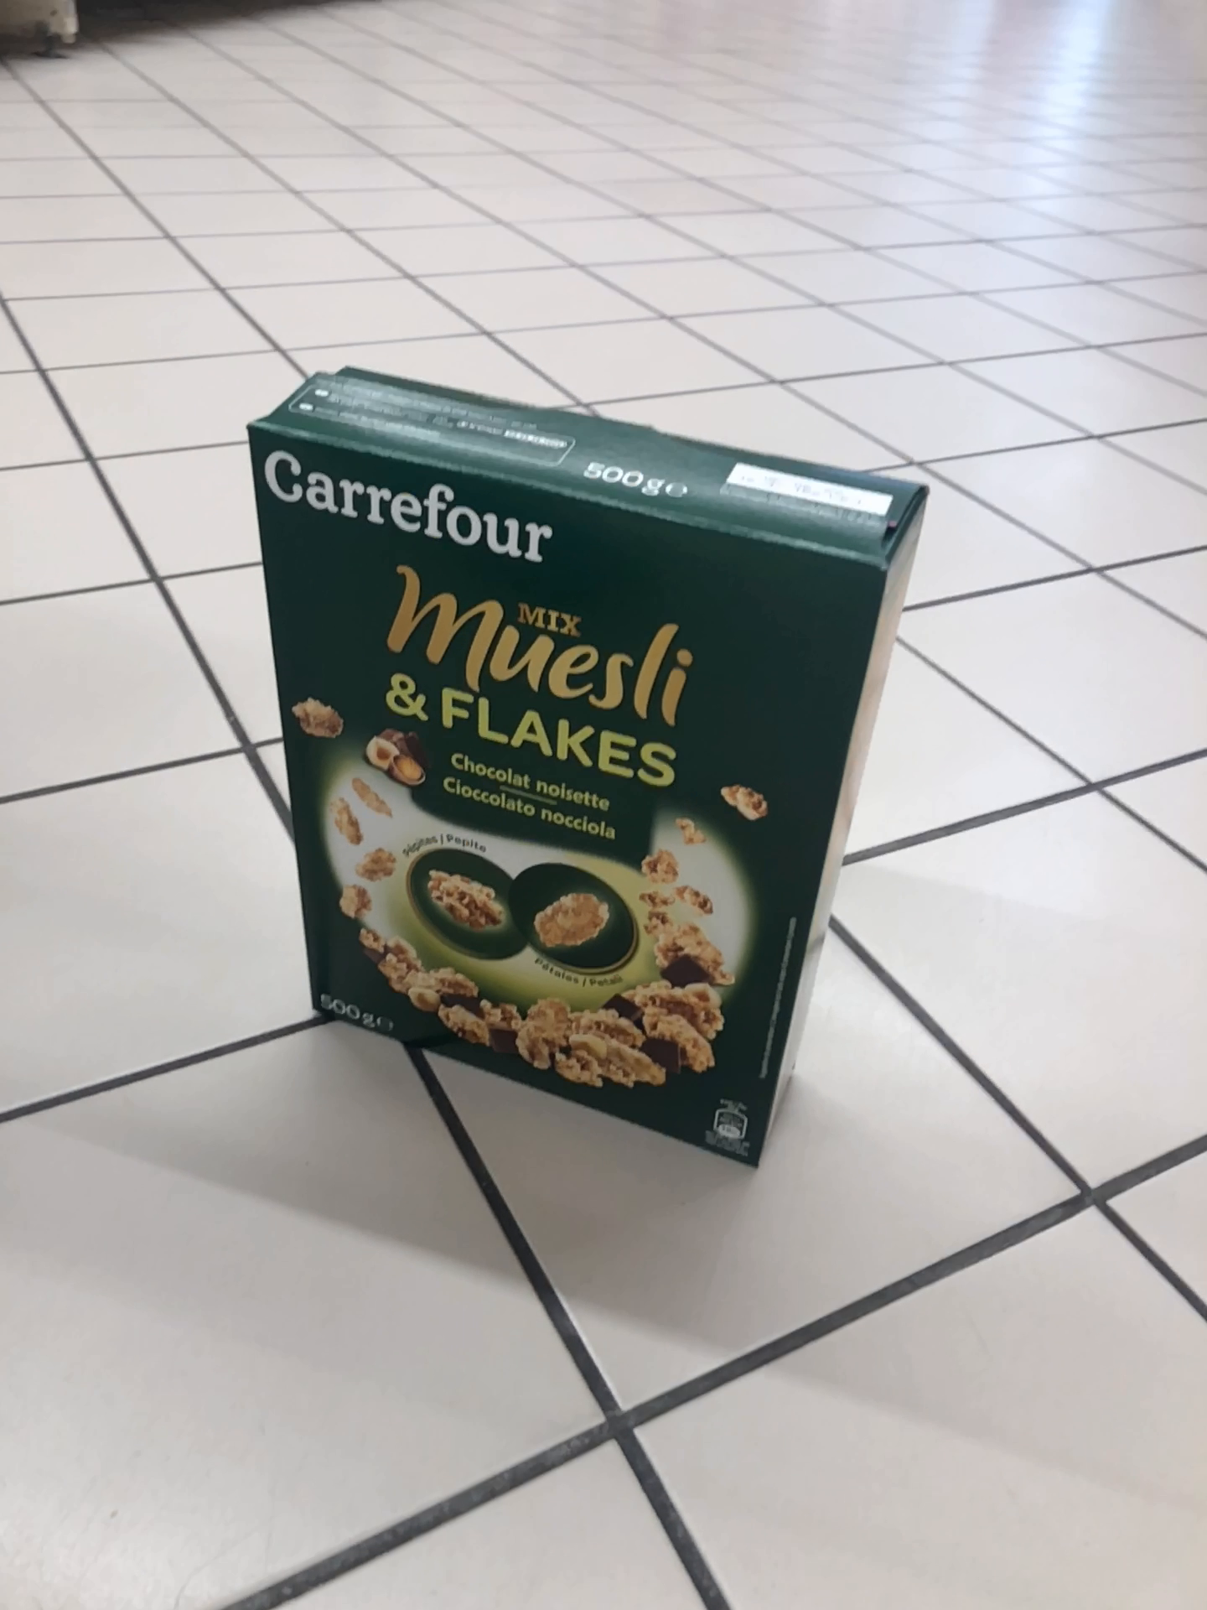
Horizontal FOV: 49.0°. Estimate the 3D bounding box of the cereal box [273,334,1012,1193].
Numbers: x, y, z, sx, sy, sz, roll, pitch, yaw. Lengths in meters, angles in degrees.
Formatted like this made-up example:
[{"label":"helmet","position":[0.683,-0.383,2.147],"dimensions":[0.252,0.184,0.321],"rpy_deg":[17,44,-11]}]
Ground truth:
[{"label":"cereal box","position":[0.005,-0.008,0.461],"dimensions":[0.200,0.248,0.081],"rpy_deg":[17,39,16]}]
